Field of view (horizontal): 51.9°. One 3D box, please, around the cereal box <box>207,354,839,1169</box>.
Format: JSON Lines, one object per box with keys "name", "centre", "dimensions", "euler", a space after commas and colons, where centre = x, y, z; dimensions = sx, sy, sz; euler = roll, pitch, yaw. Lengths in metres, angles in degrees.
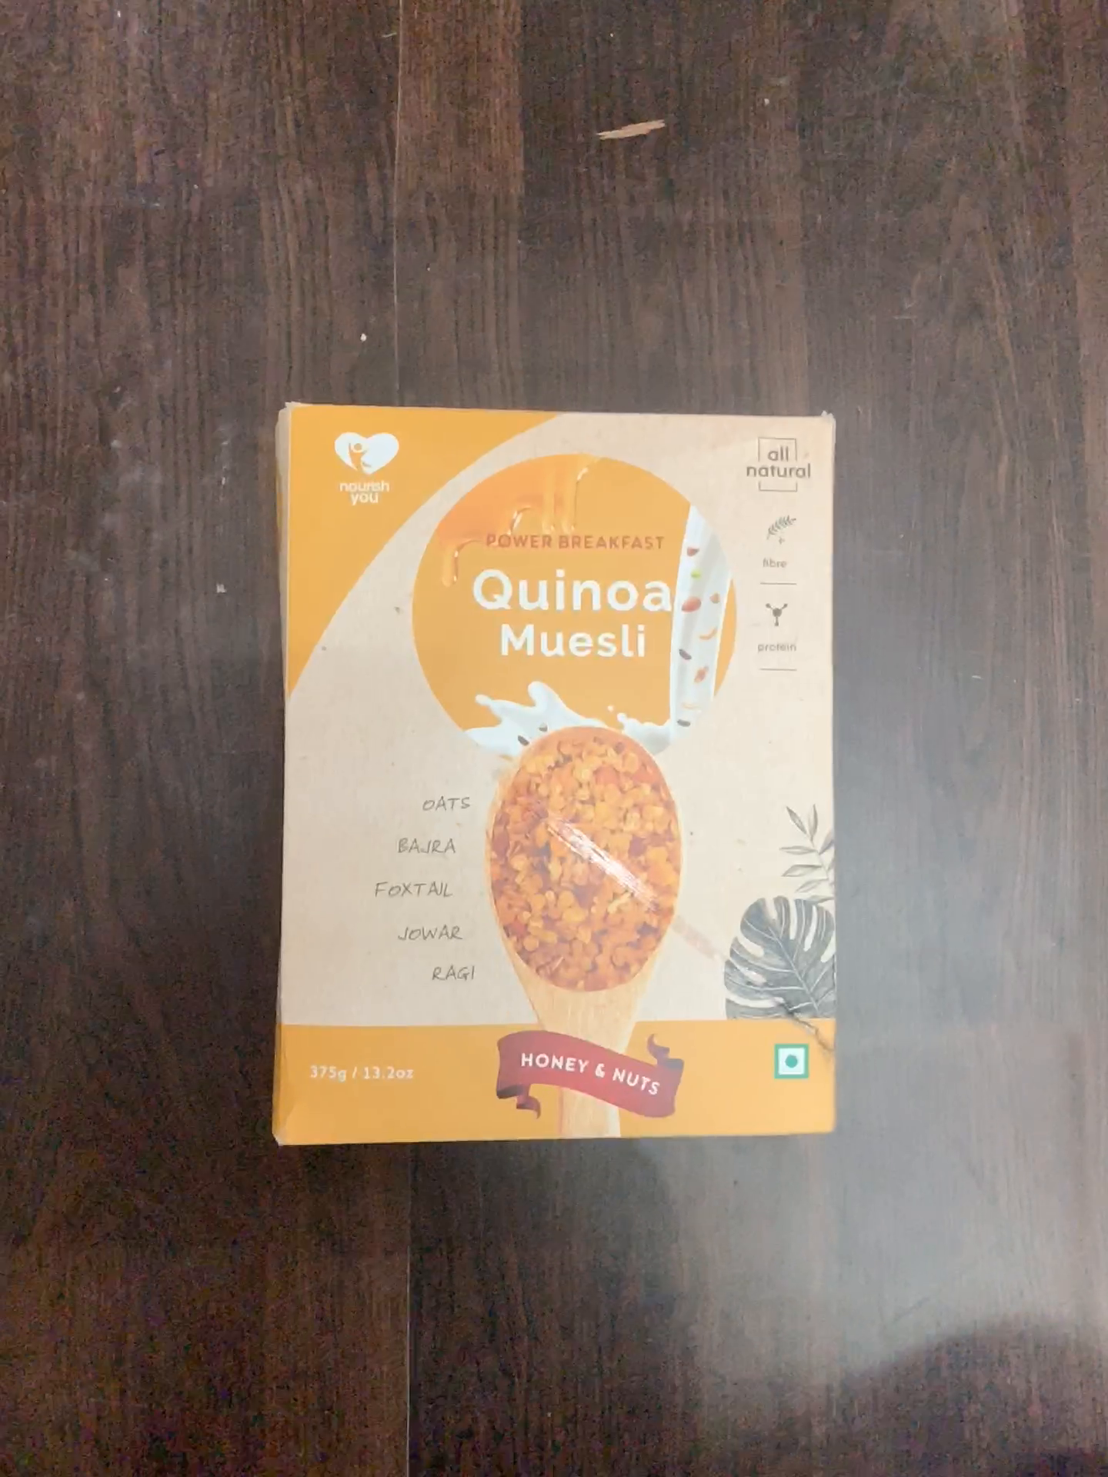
{"name": "cereal box", "centre": [-0.008, 0.007, 0.342], "dimensions": [0.170, 0.060, 0.220], "euler": [1, 89, -3]}
